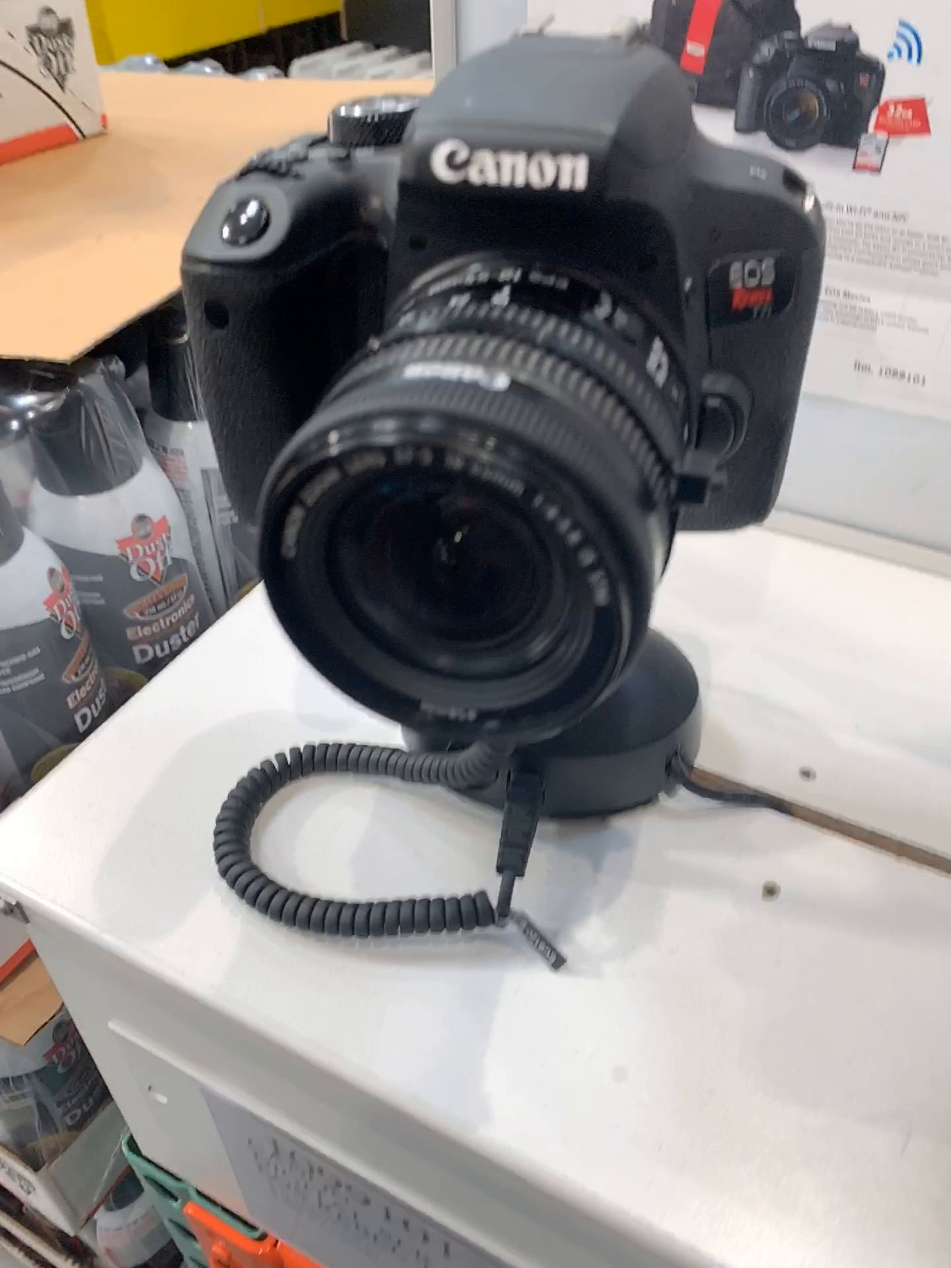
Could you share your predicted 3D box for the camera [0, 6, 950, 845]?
[{"bbox_3d":[0.004,-0.051,0.180,0.134,0.089,0.121,11,41,13],"label":"camera"}]
